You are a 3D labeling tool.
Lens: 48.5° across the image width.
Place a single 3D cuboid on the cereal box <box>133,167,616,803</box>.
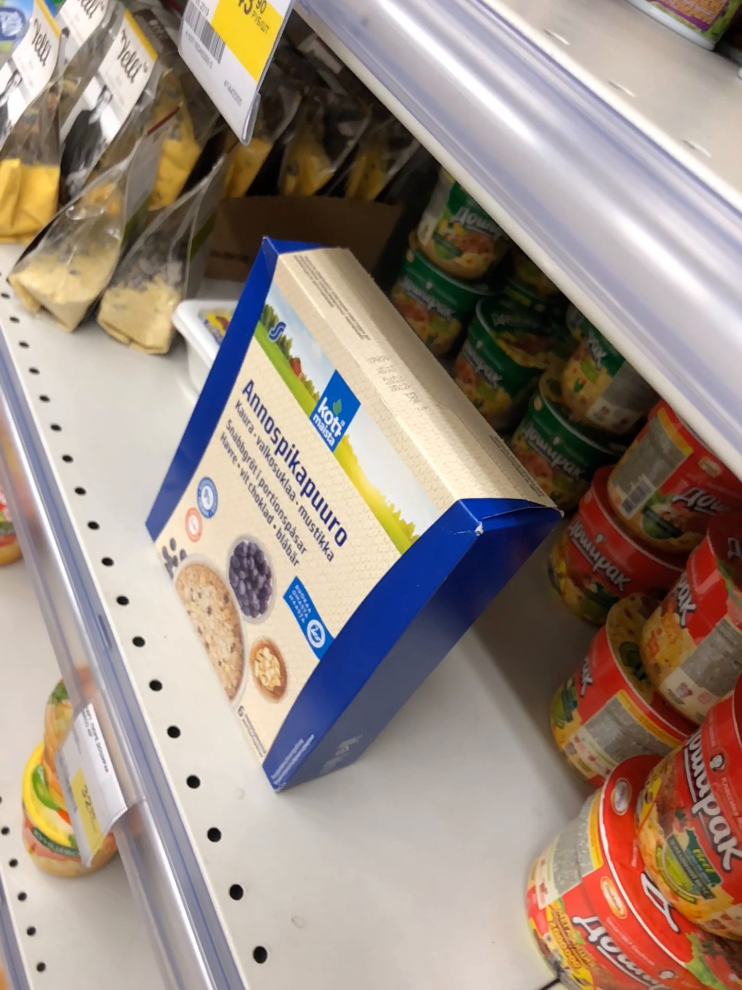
[{"bbox_3d":[-0.022,-0.002,0.335,0.050,0.179,0.171,-6,50,-40],"label":"cereal box"}]
